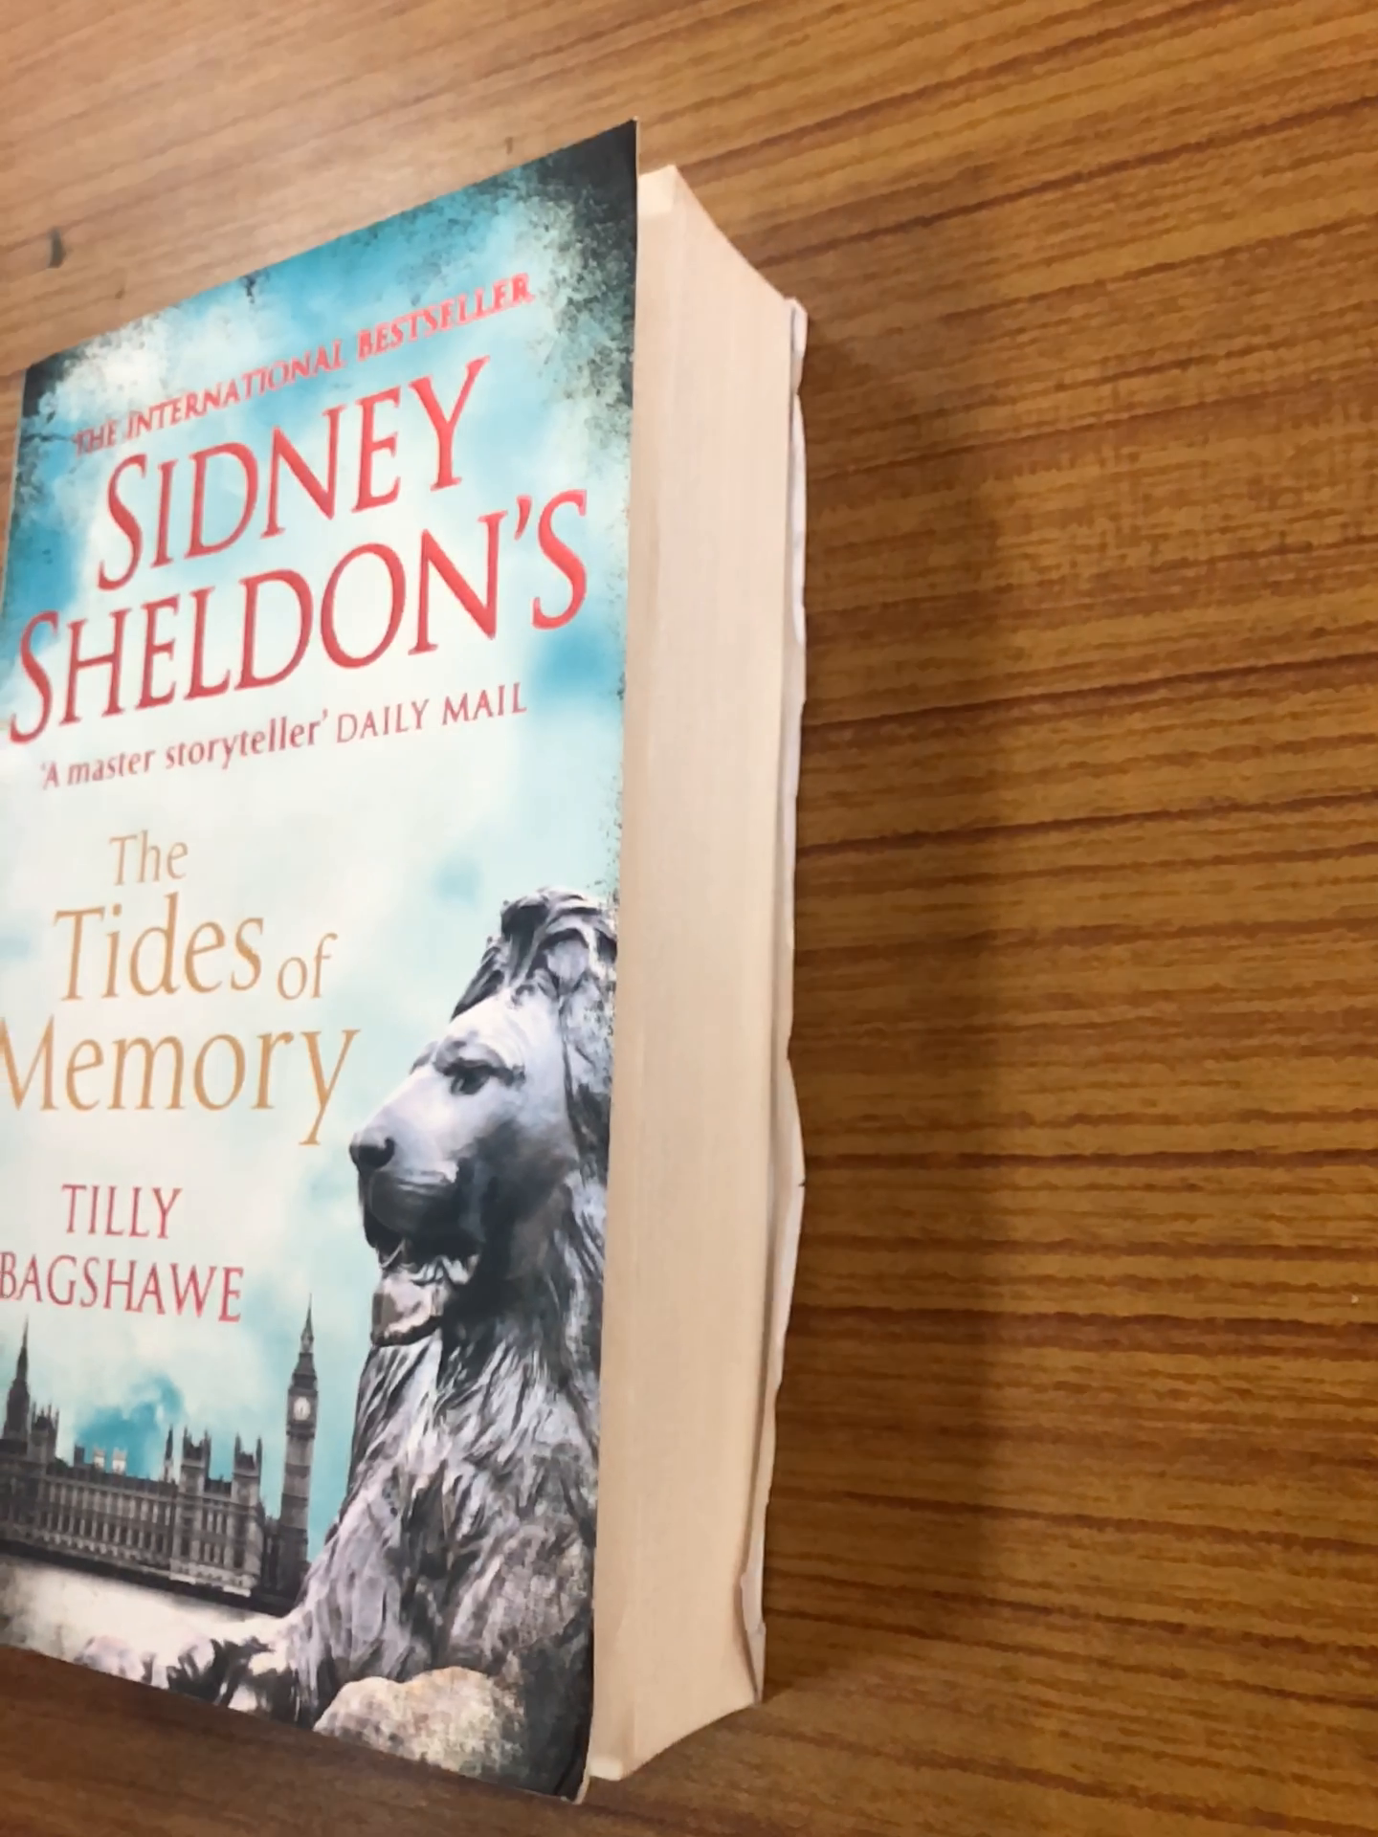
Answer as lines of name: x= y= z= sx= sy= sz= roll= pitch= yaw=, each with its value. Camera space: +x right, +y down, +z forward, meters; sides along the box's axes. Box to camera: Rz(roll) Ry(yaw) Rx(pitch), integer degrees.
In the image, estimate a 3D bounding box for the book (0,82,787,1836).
book: x=-0.052 y=0.004 z=0.193 sx=0.122 sy=0.037 sz=0.168 roll=-4 pitch=79 yaw=32
